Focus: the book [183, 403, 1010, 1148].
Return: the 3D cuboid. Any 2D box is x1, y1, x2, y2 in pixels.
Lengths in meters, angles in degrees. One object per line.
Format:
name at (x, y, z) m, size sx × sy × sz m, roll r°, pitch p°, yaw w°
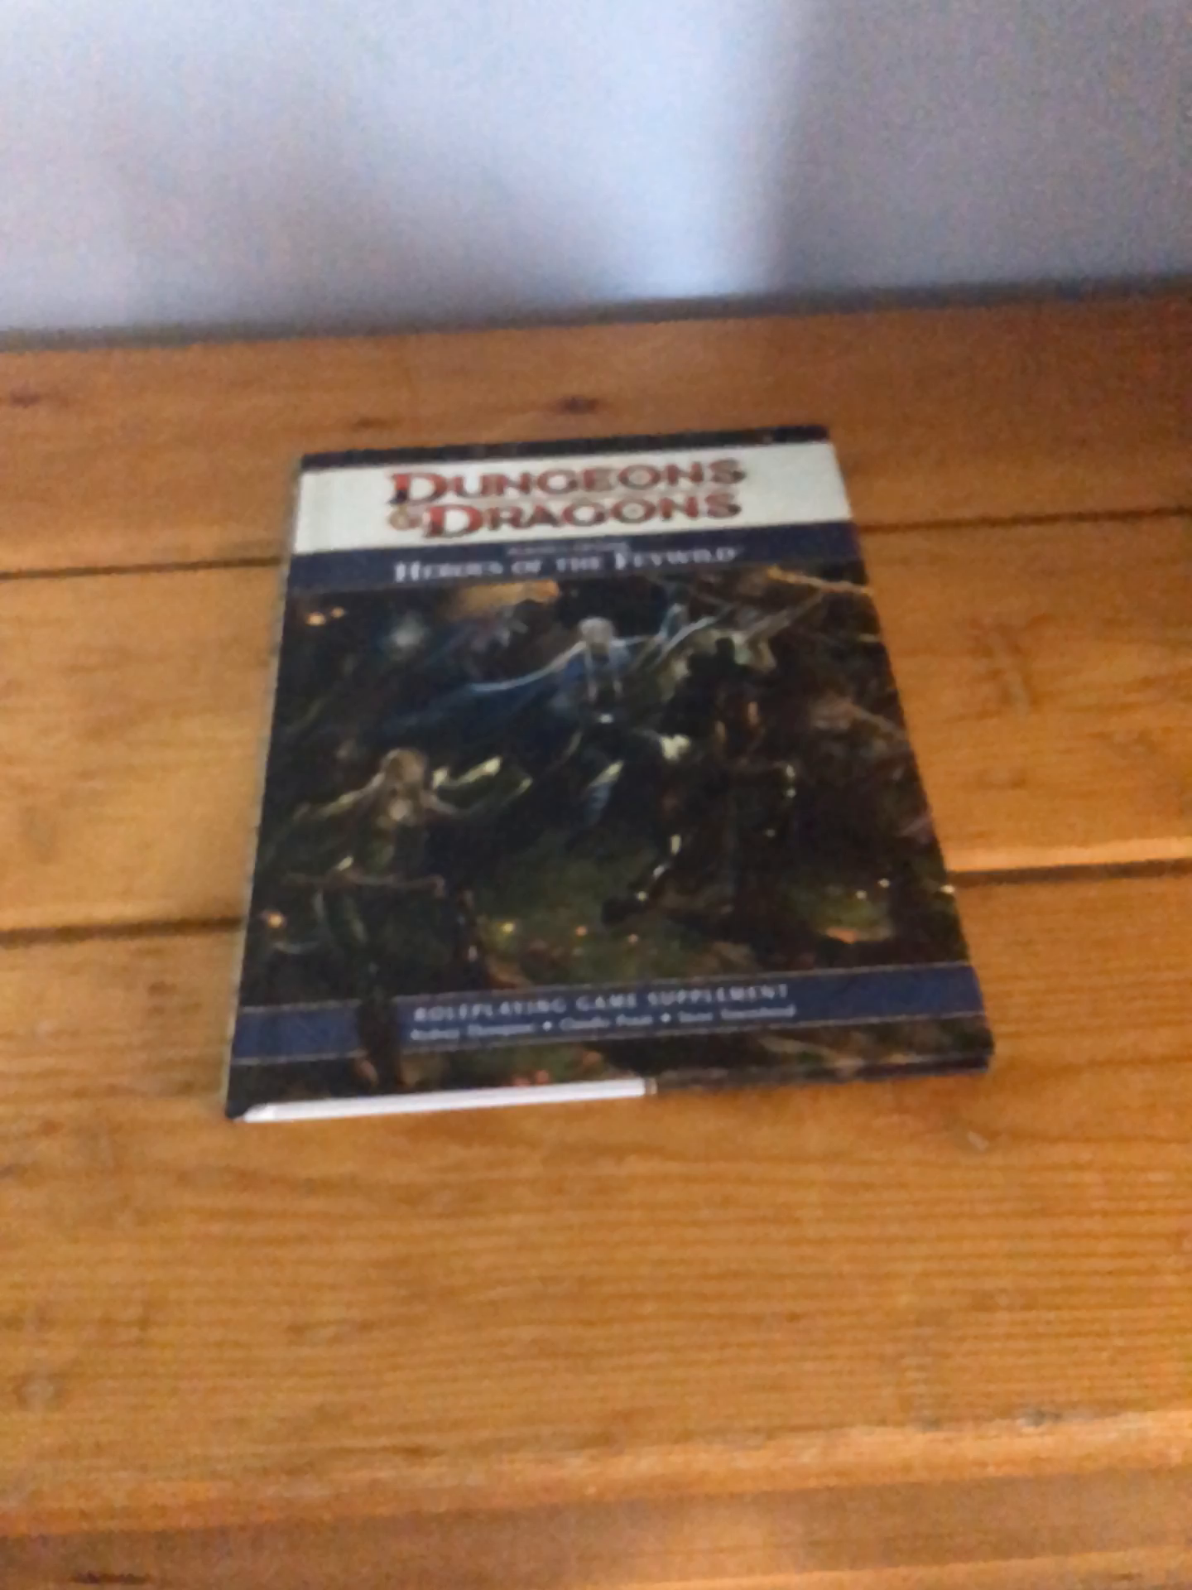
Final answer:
book at (-0.008, -0.028, 0.446) m, size 0.220 × 0.020 × 0.281 m, roll -4°, pitch 54°, yaw -1°
